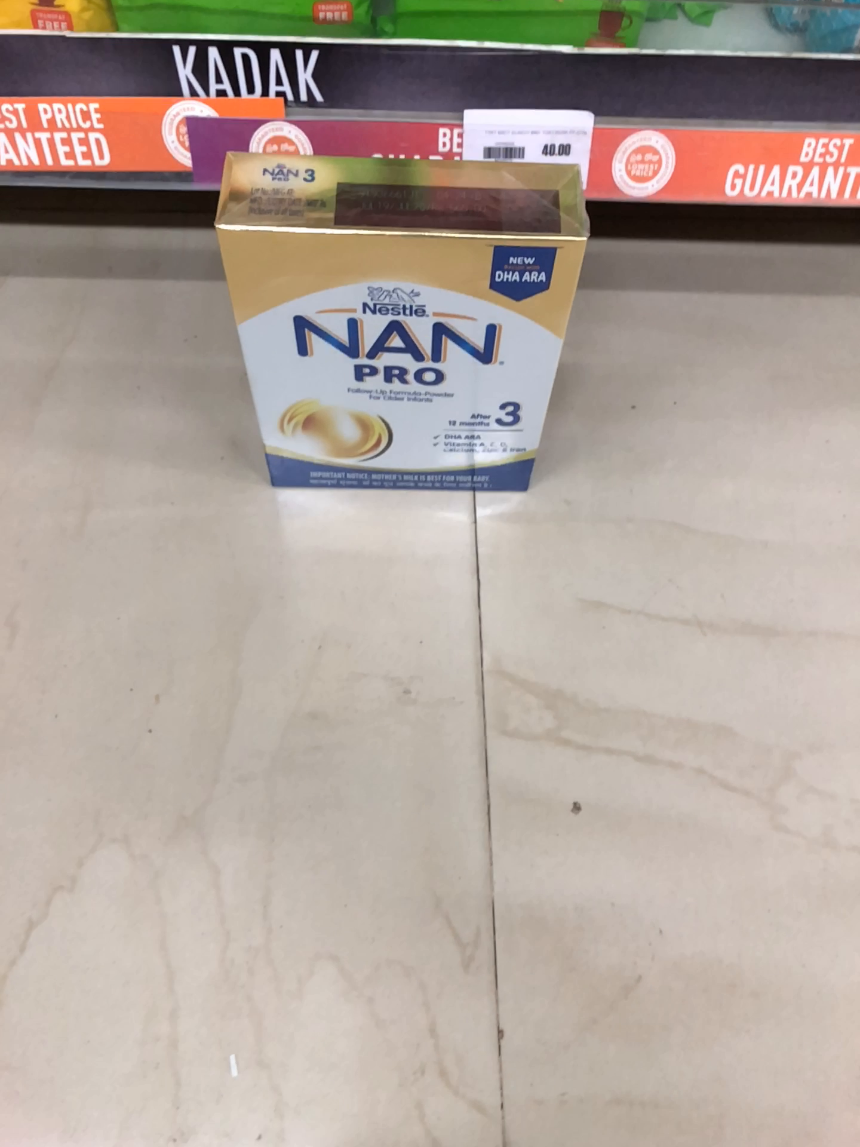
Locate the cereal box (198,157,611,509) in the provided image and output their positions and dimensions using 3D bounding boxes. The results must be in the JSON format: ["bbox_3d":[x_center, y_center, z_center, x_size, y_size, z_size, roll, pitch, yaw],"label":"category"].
[{"bbox_3d":[-0.012,-0.104,0.465,0.160,0.189,0.050,1,62,-2],"label":"cereal box"}]
